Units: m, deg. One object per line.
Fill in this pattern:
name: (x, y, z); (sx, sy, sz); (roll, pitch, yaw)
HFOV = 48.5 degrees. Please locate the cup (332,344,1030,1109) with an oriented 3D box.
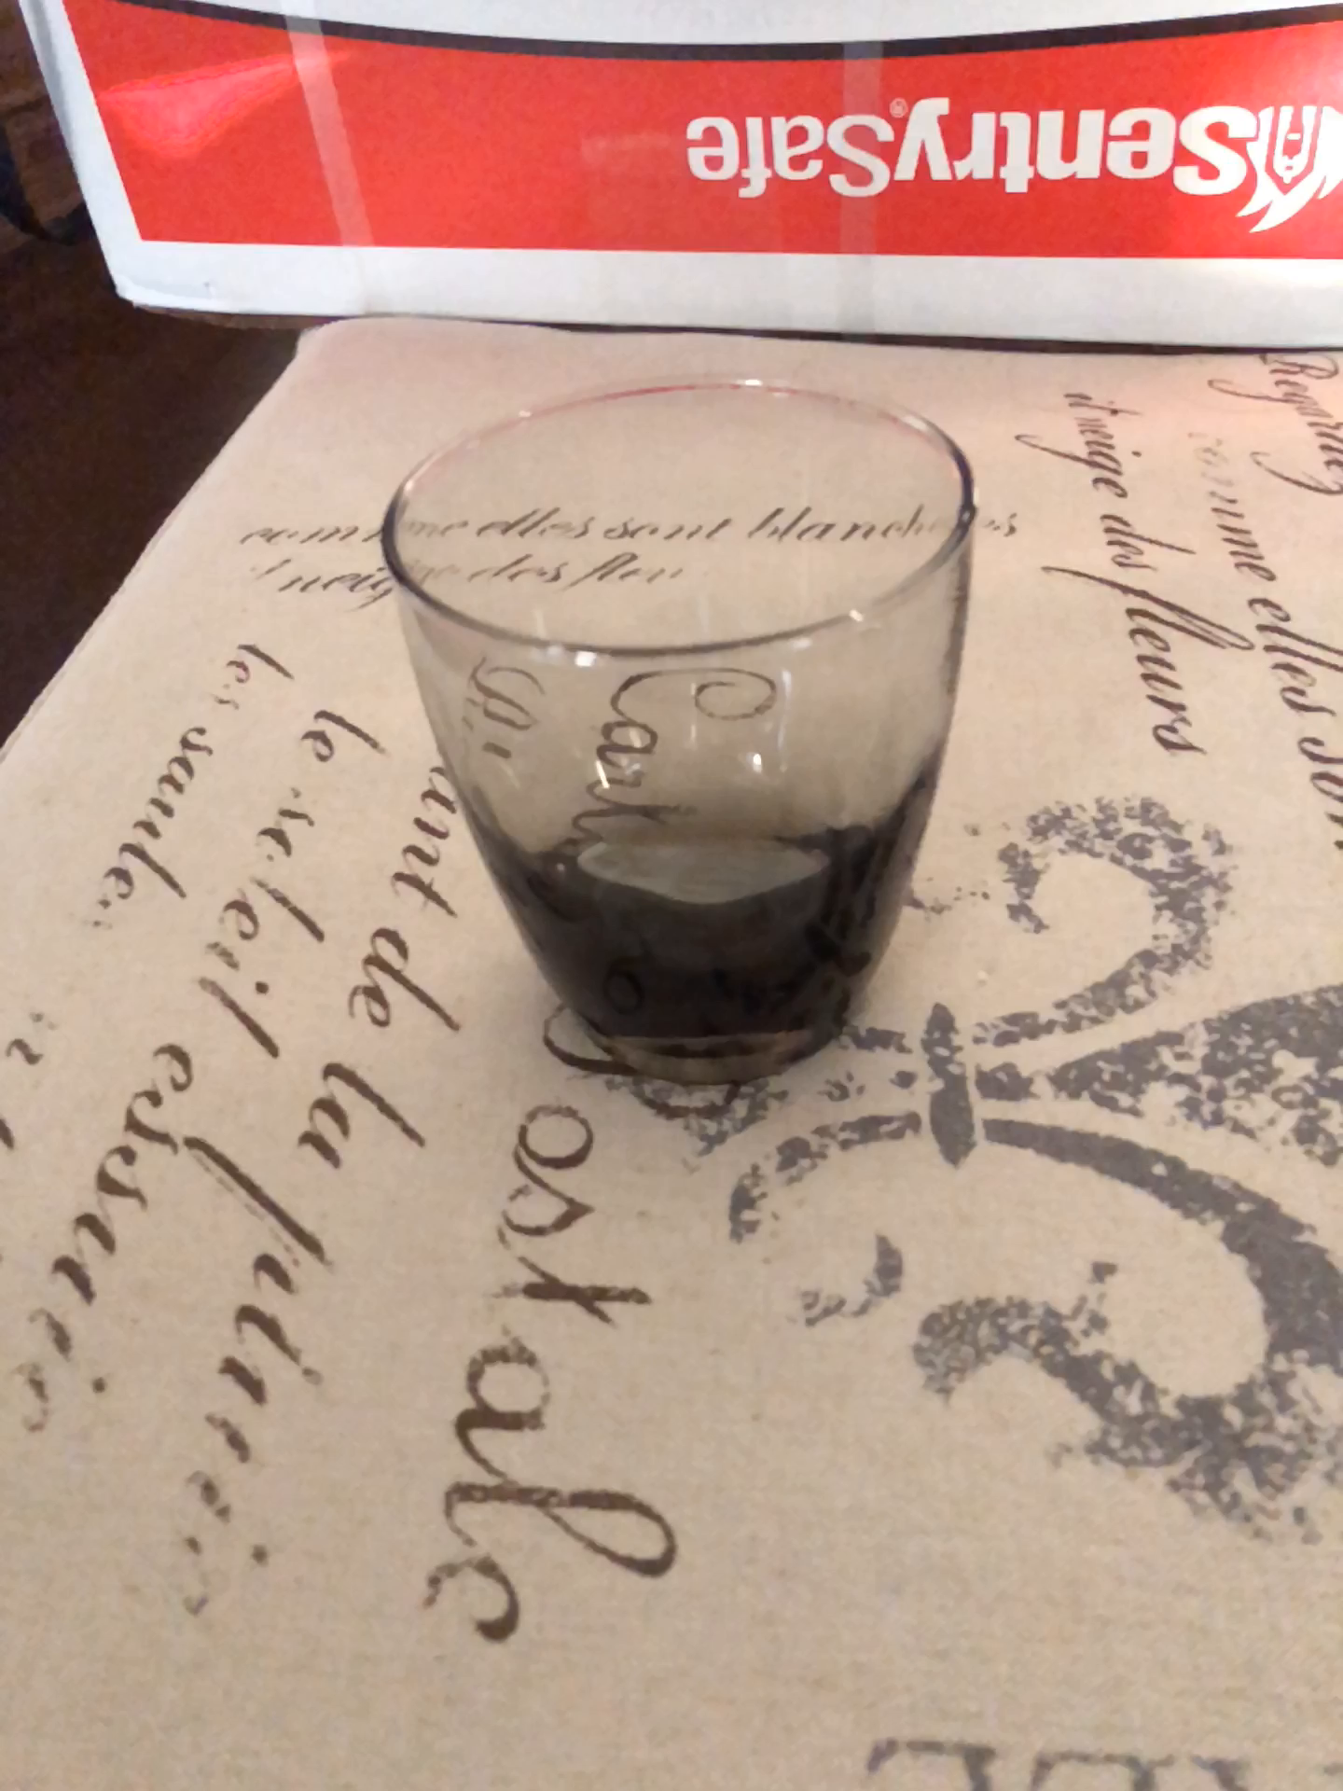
cup: (0.005, -0.028, 0.251); (0.088, 0.092, 0.088); (-3, 41, 2)
